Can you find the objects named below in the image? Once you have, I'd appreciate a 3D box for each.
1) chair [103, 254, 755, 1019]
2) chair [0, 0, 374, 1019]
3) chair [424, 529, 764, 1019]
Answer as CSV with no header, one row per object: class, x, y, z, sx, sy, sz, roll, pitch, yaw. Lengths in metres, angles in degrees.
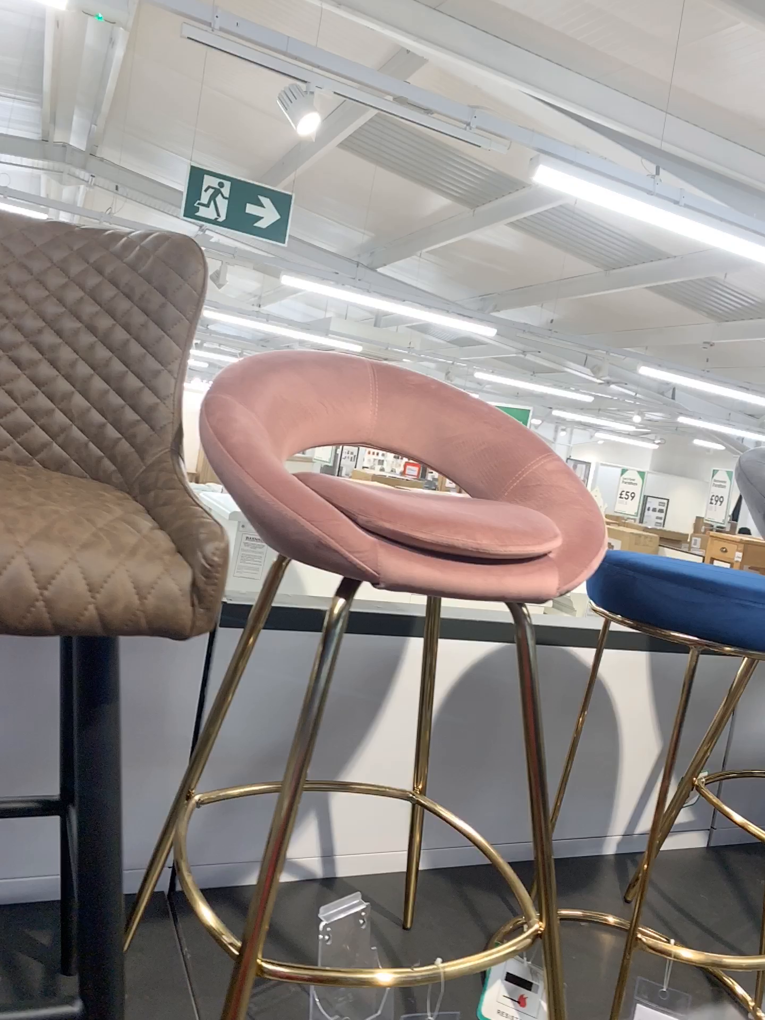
chair,-0.008,0.226,0.929,0.492,0.859,0.461,8,4,-21
chair,-0.408,0.129,0.720,0.502,0.959,0.451,8,4,-27
chair,0.405,0.392,1.094,0.462,0.620,0.431,8,4,-21
